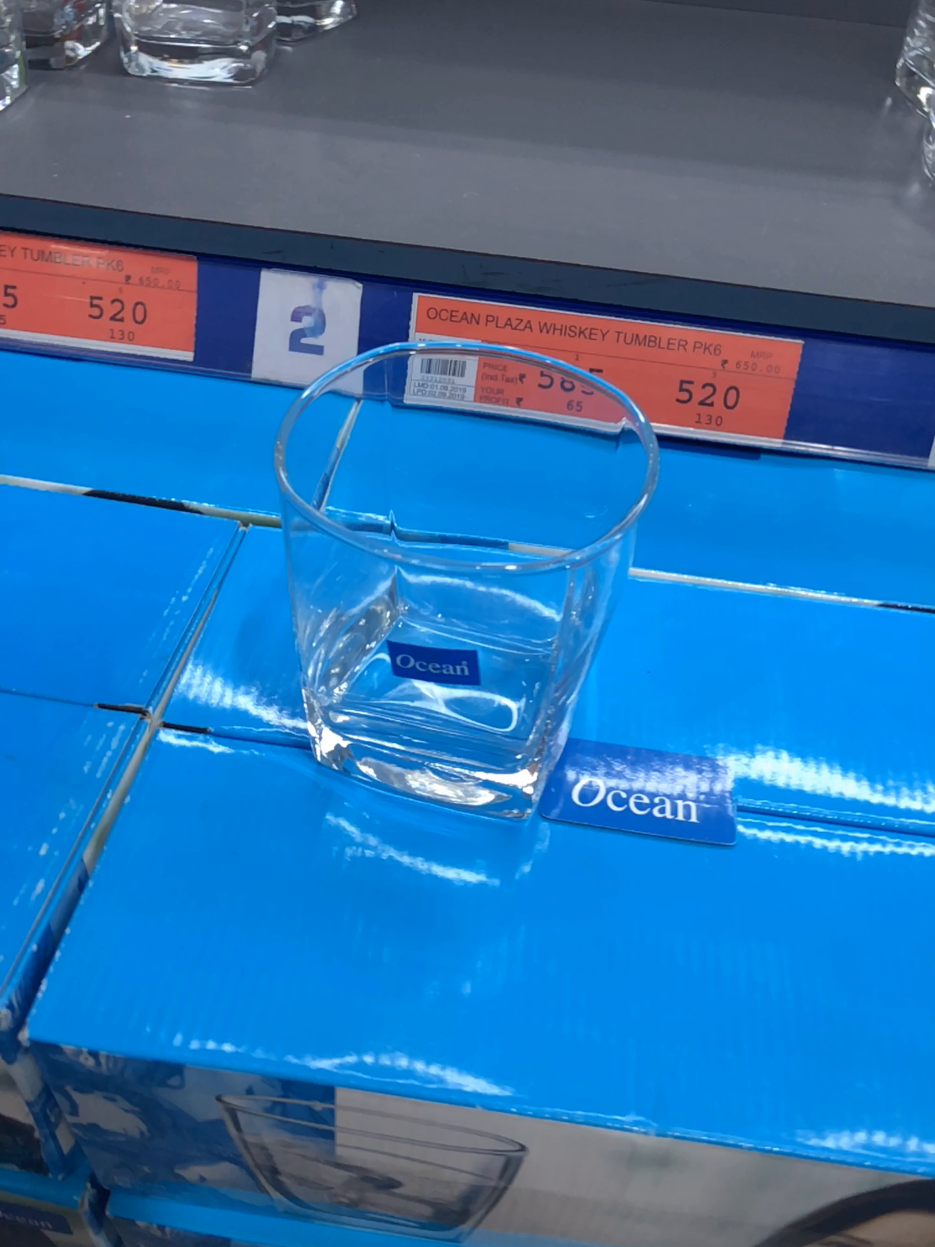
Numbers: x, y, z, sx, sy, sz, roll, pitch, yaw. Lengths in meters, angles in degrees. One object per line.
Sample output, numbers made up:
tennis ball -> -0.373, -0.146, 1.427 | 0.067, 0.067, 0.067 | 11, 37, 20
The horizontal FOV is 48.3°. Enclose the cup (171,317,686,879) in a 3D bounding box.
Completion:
cup -> -0.004, -0.009, 0.249 | 0.090, 0.080, 0.090 | 2, 44, -2
